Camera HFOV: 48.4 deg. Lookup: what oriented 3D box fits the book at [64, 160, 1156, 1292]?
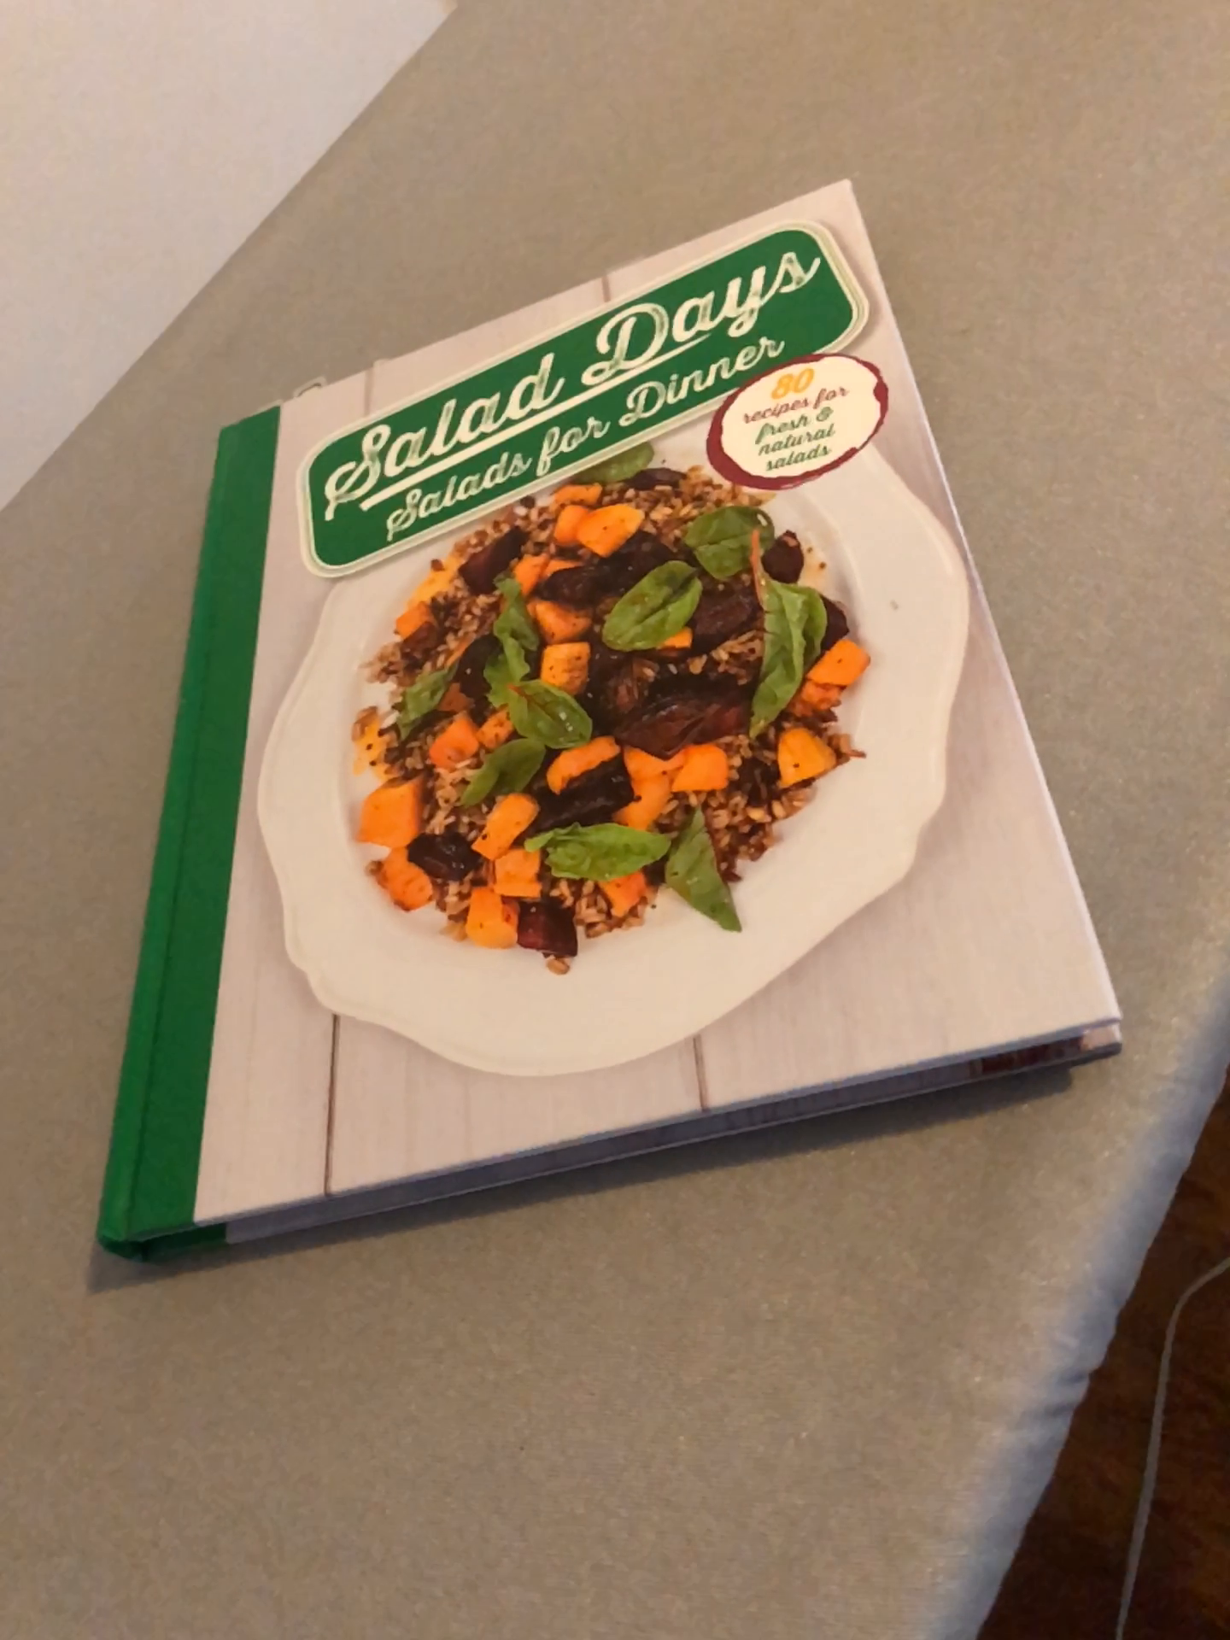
[{"bbox_3d":[-0.018,-0.043,0.340,0.214,0.020,0.275,-16,53,14],"label":"book"}]
